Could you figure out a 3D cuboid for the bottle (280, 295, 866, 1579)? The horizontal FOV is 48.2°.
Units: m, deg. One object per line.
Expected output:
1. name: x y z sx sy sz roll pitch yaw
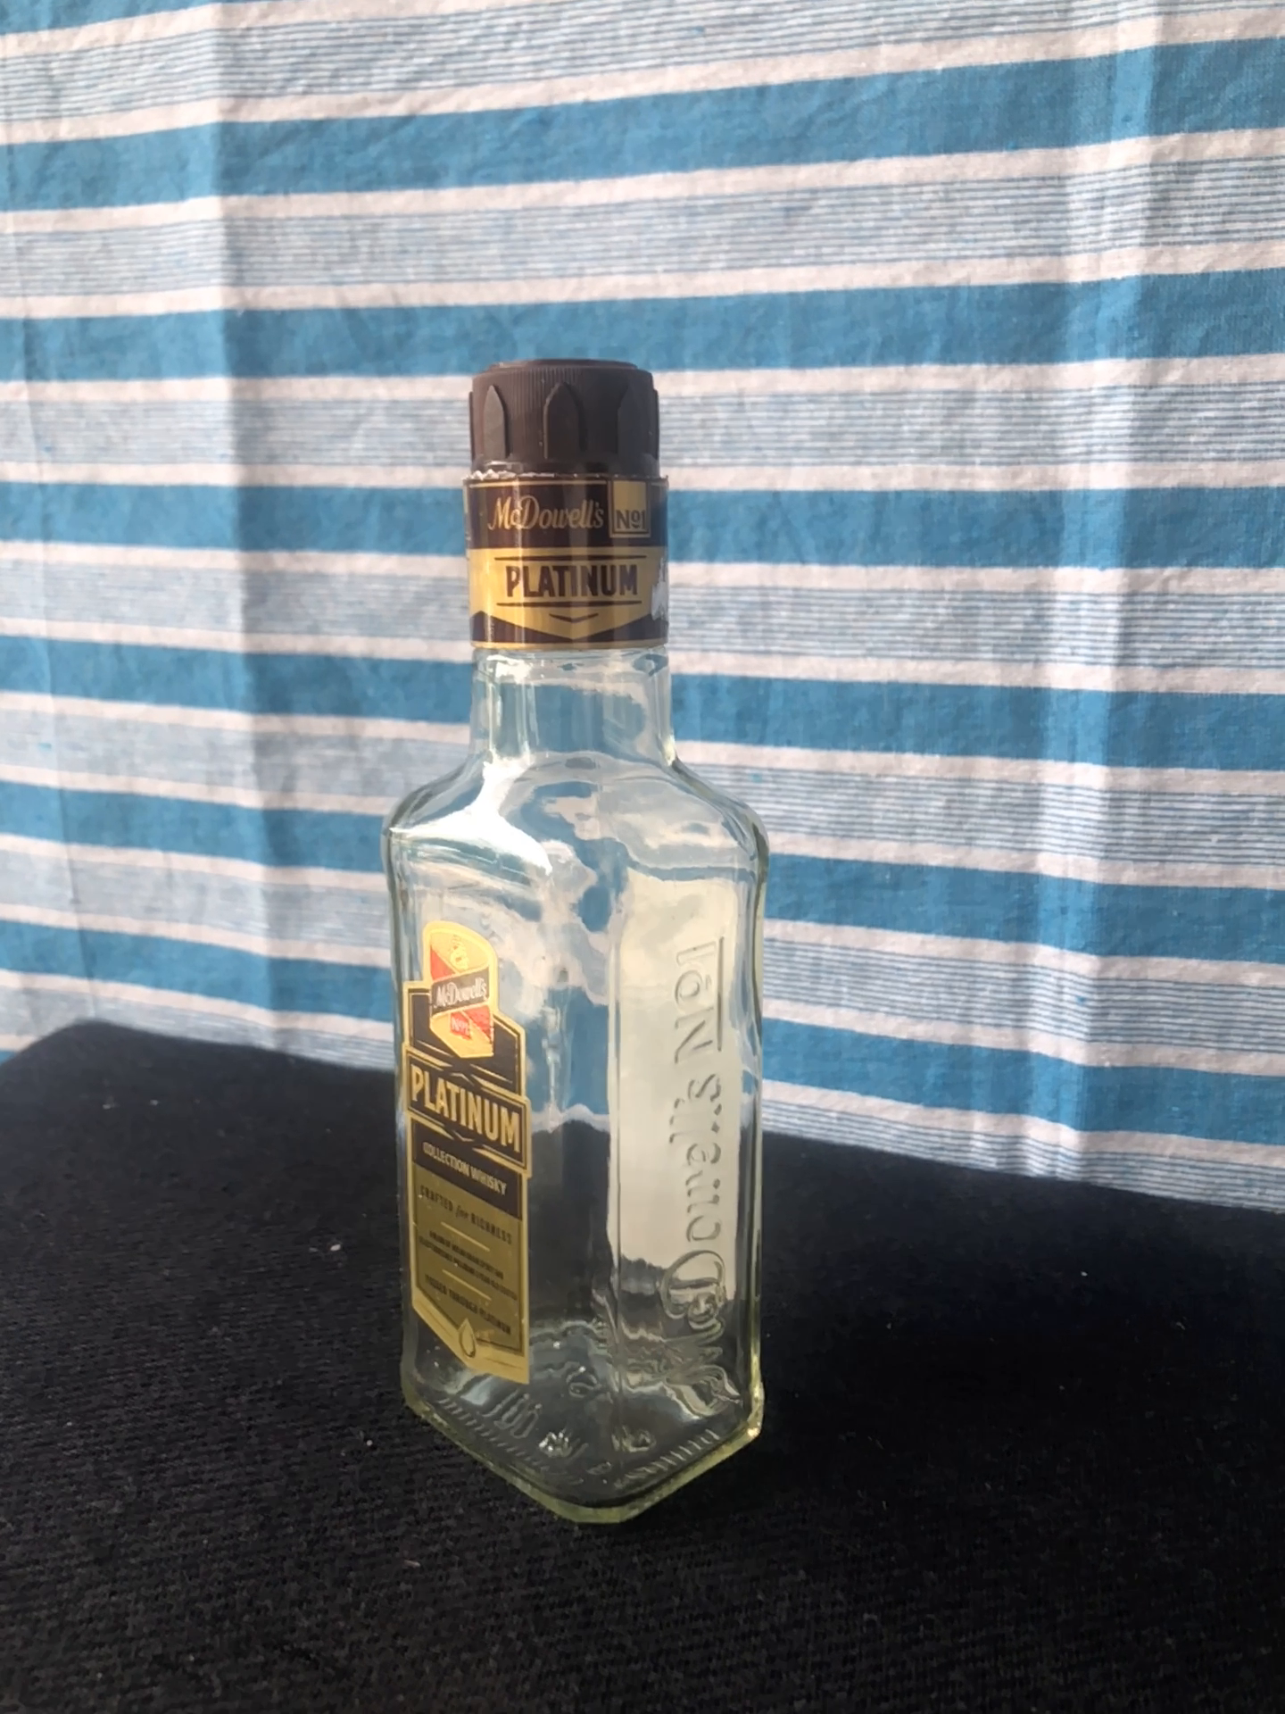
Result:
1. bottle: -0.011 0.008 0.193 0.060 0.149 0.040 15 20 41
